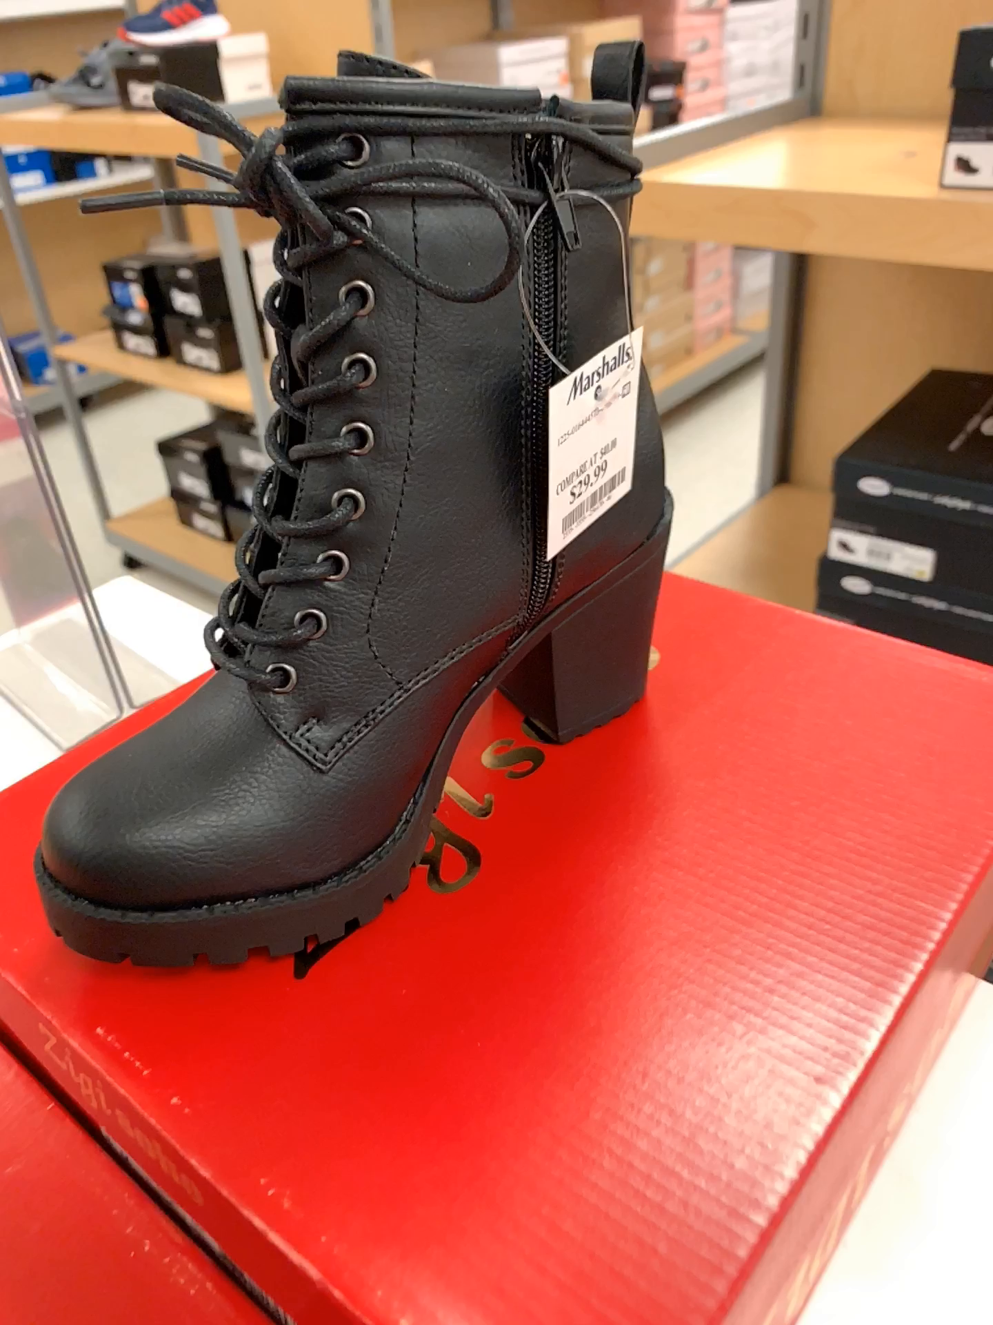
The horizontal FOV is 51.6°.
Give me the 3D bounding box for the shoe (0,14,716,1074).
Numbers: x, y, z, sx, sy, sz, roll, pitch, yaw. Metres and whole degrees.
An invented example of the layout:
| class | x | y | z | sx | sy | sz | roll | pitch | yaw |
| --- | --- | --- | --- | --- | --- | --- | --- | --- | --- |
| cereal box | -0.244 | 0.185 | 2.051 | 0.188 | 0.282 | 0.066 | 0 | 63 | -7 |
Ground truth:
| class | x | y | z | sx | sy | sz | roll | pitch | yaw |
| --- | --- | --- | --- | --- | --- | --- | --- | --- | --- |
| shoe | -0.049 | -0.043 | 0.274 | 0.201 | 0.203 | 0.093 | -27 | 39 | -30 |
